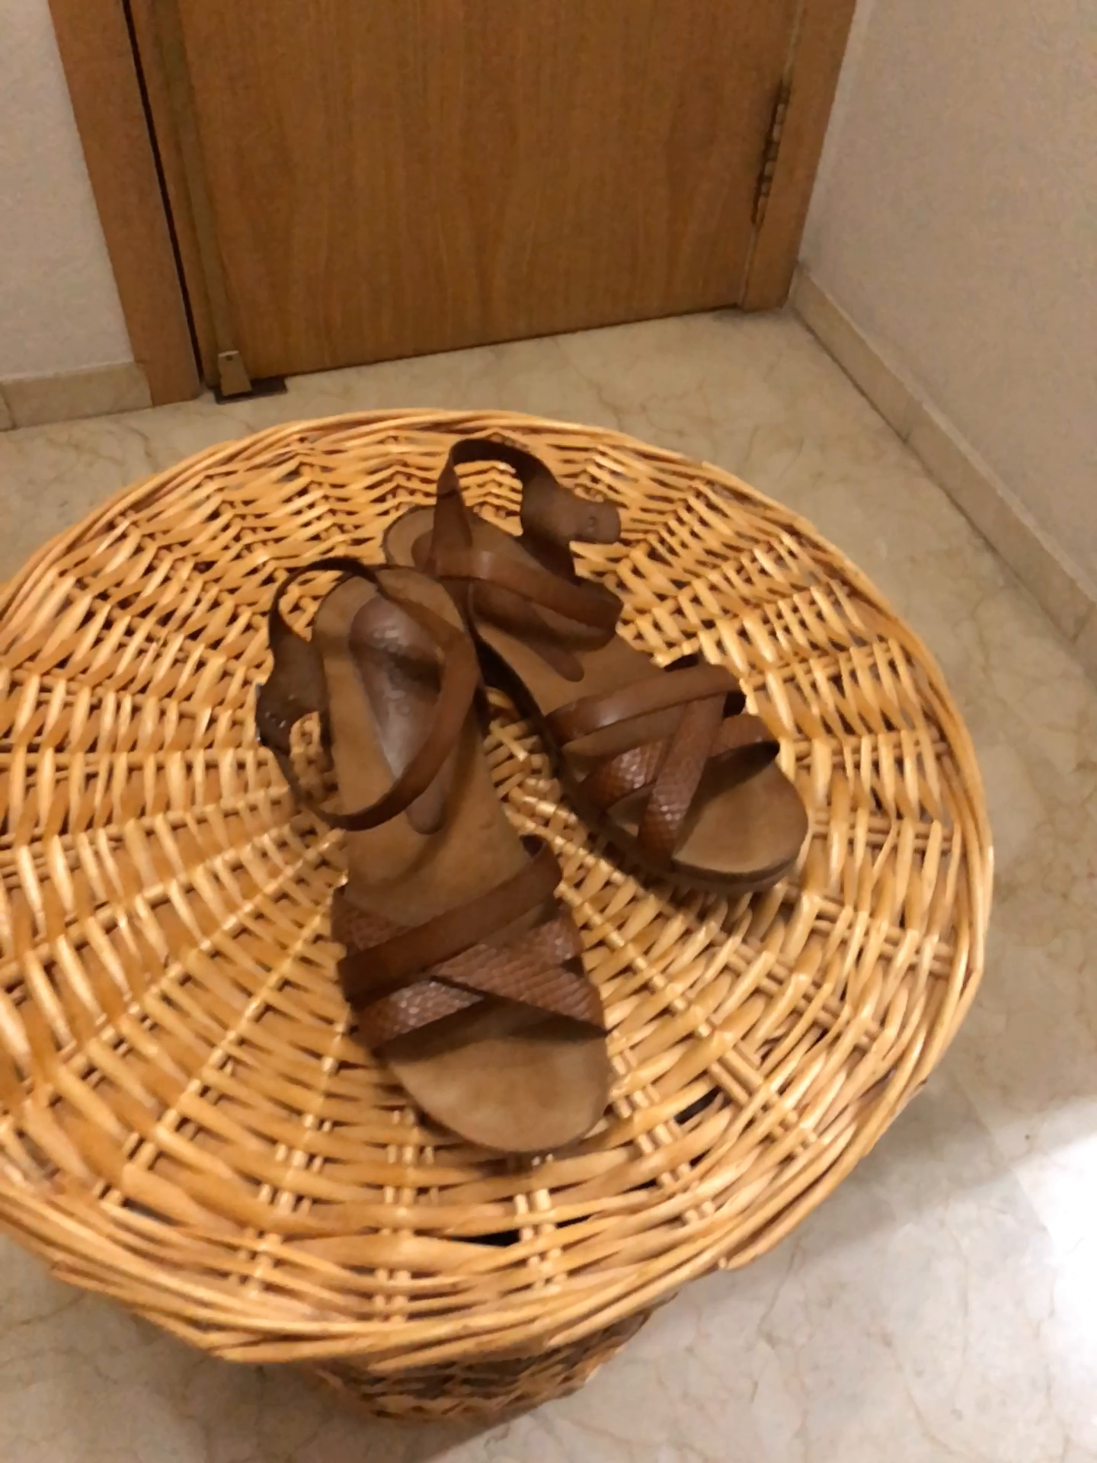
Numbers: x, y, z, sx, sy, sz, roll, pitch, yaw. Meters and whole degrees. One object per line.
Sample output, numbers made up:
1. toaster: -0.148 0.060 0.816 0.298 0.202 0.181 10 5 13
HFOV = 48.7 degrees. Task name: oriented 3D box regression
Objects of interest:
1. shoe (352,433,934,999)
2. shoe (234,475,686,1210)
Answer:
1. shoe: 0.029 -0.022 0.558 0.100 0.060 0.280 -29 59 -25
2. shoe: -0.047 0.031 0.494 0.100 0.070 0.281 -13 62 -14
